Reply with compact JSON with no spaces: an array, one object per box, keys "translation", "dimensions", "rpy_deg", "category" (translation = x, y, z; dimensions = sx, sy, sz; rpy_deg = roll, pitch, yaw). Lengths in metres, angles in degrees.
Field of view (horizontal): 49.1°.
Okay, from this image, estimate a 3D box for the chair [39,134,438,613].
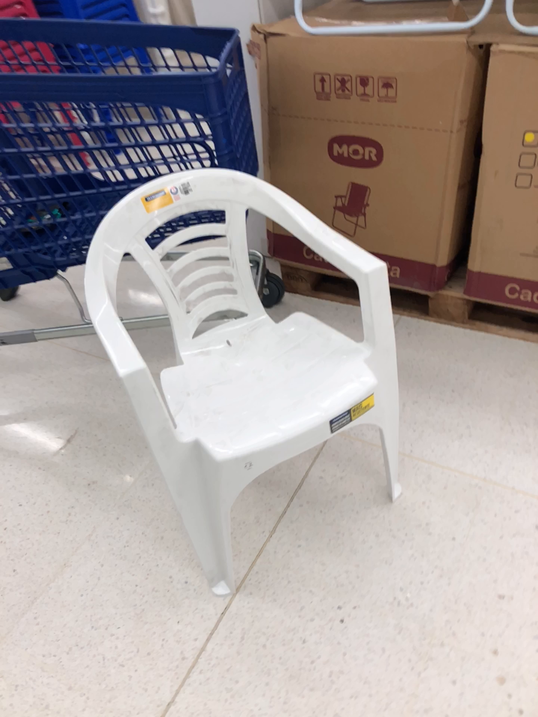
[{"translation":[-0.040,0.016,1.226],"dimensions":[0.521,0.695,0.503],"rpy_deg":[-25,42,-18],"category":"chair"}]
